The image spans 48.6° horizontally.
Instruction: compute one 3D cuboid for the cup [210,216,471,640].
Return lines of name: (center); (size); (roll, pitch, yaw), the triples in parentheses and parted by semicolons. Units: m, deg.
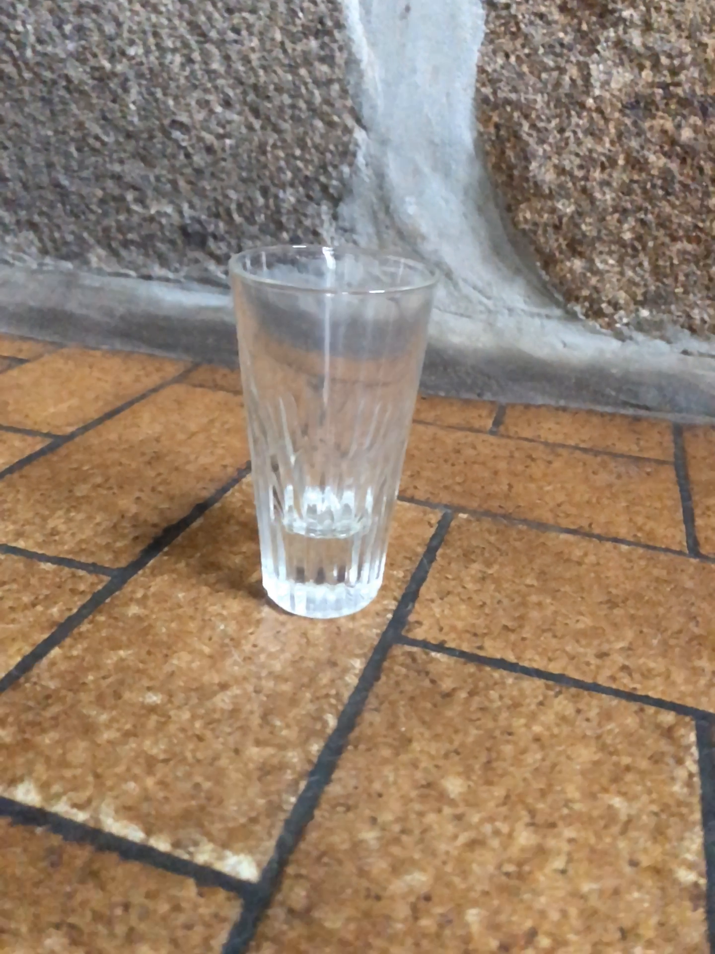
cup: (-0.004, -0.019, 0.268); (0.070, 0.119, 0.070); (3, 25, -1)
